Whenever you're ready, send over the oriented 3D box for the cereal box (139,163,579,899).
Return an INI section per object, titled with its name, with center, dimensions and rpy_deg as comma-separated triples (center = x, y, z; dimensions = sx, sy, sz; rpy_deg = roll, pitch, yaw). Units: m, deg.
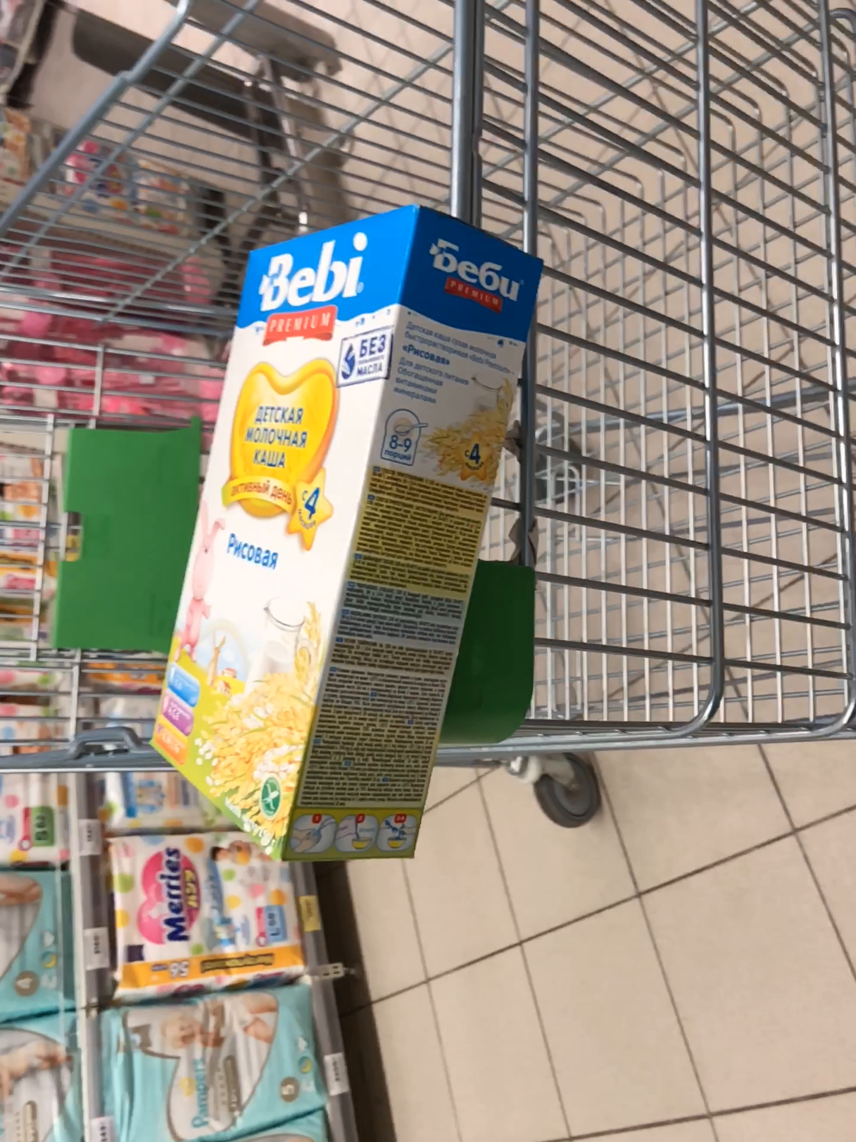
[cereal box]
center = -0.038, -0.017, 0.339
dimensions = 0.151, 0.050, 0.210
rpy_deg = 17, 95, 57
